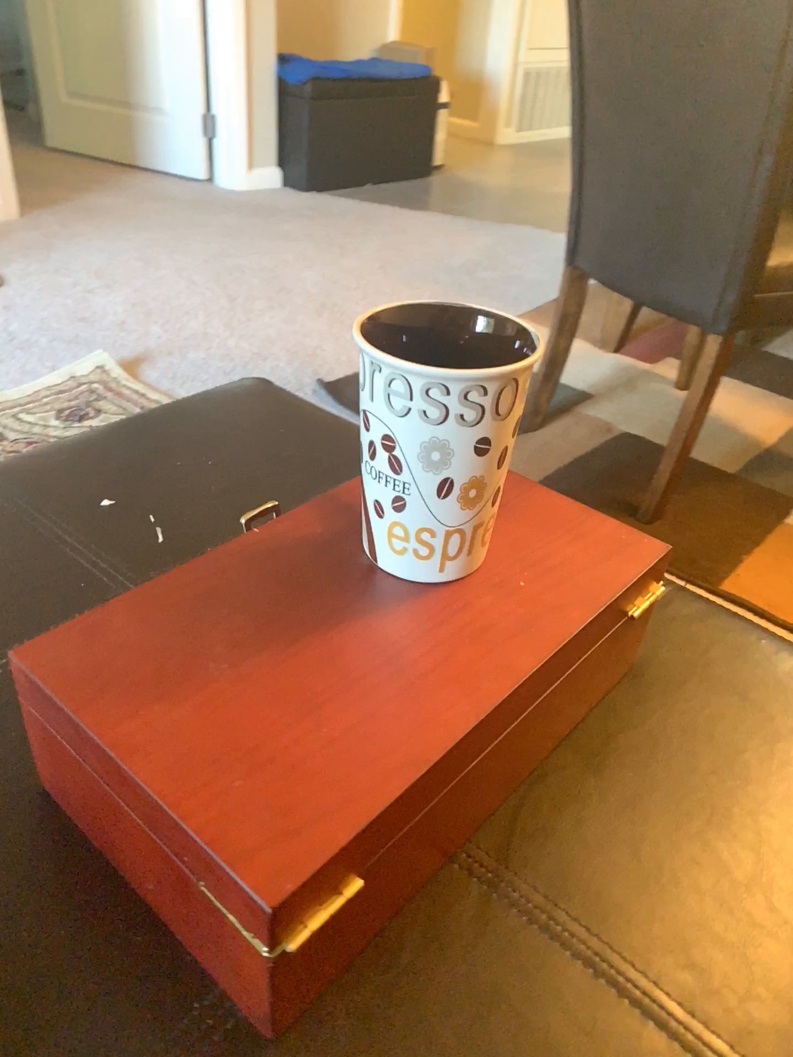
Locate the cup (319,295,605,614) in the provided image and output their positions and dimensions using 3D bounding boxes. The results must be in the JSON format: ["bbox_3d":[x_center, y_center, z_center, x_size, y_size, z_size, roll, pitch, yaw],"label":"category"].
[{"bbox_3d":[0.024,-0.041,0.403,0.090,0.109,0.101,-13,38,-25],"label":"cup"}]
